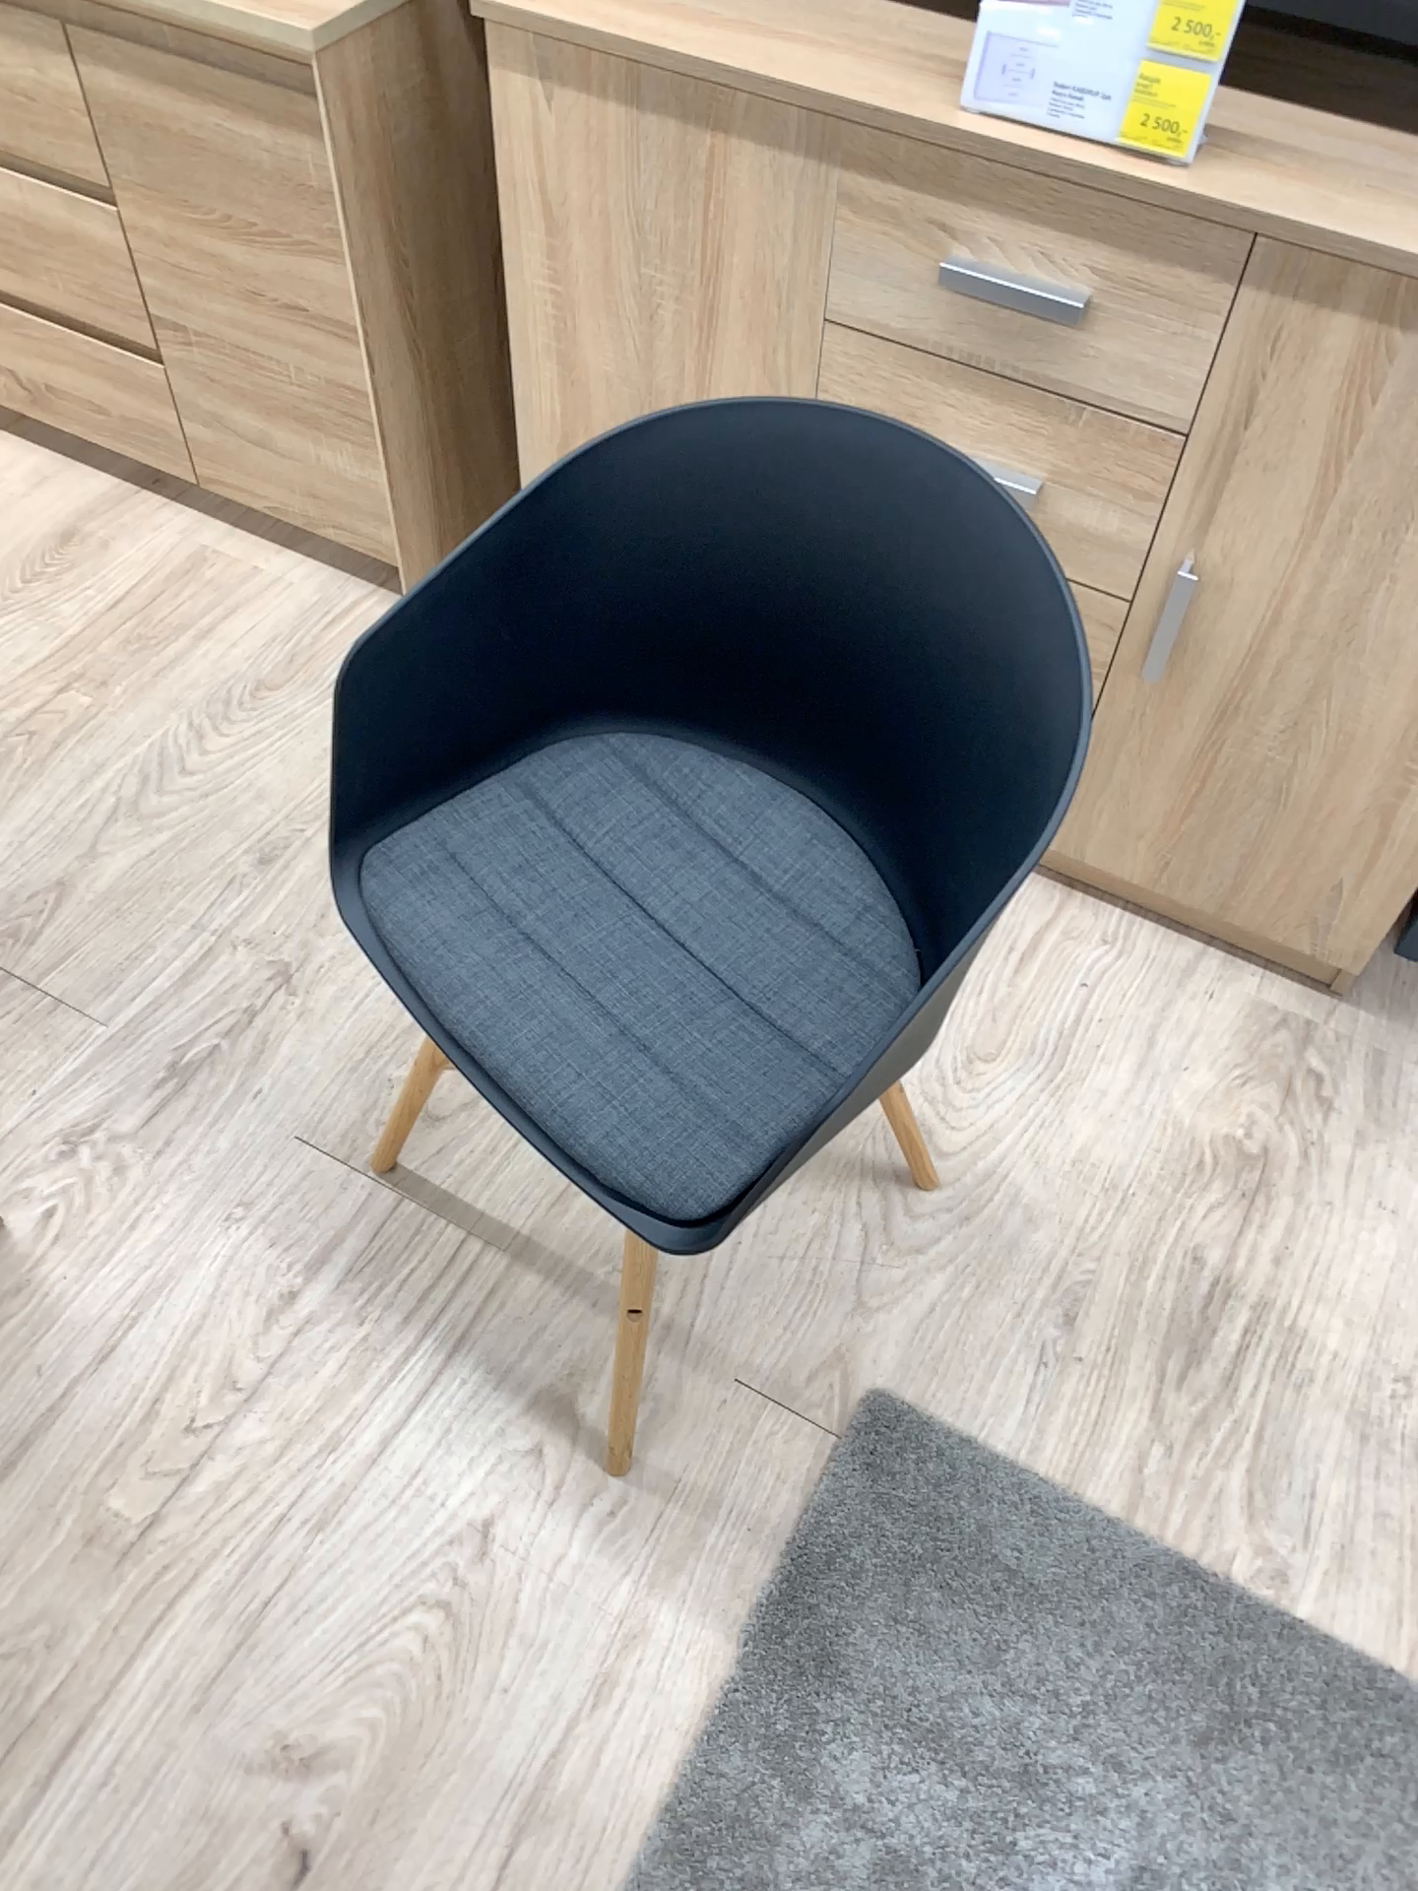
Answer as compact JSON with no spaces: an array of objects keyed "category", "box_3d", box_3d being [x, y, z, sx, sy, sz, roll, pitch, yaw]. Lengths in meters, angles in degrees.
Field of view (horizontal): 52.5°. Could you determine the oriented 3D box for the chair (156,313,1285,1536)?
[{"category":"chair","box_3d":[-0.004,0.014,1.263,0.551,0.787,0.511,-35,61,-26]}]
